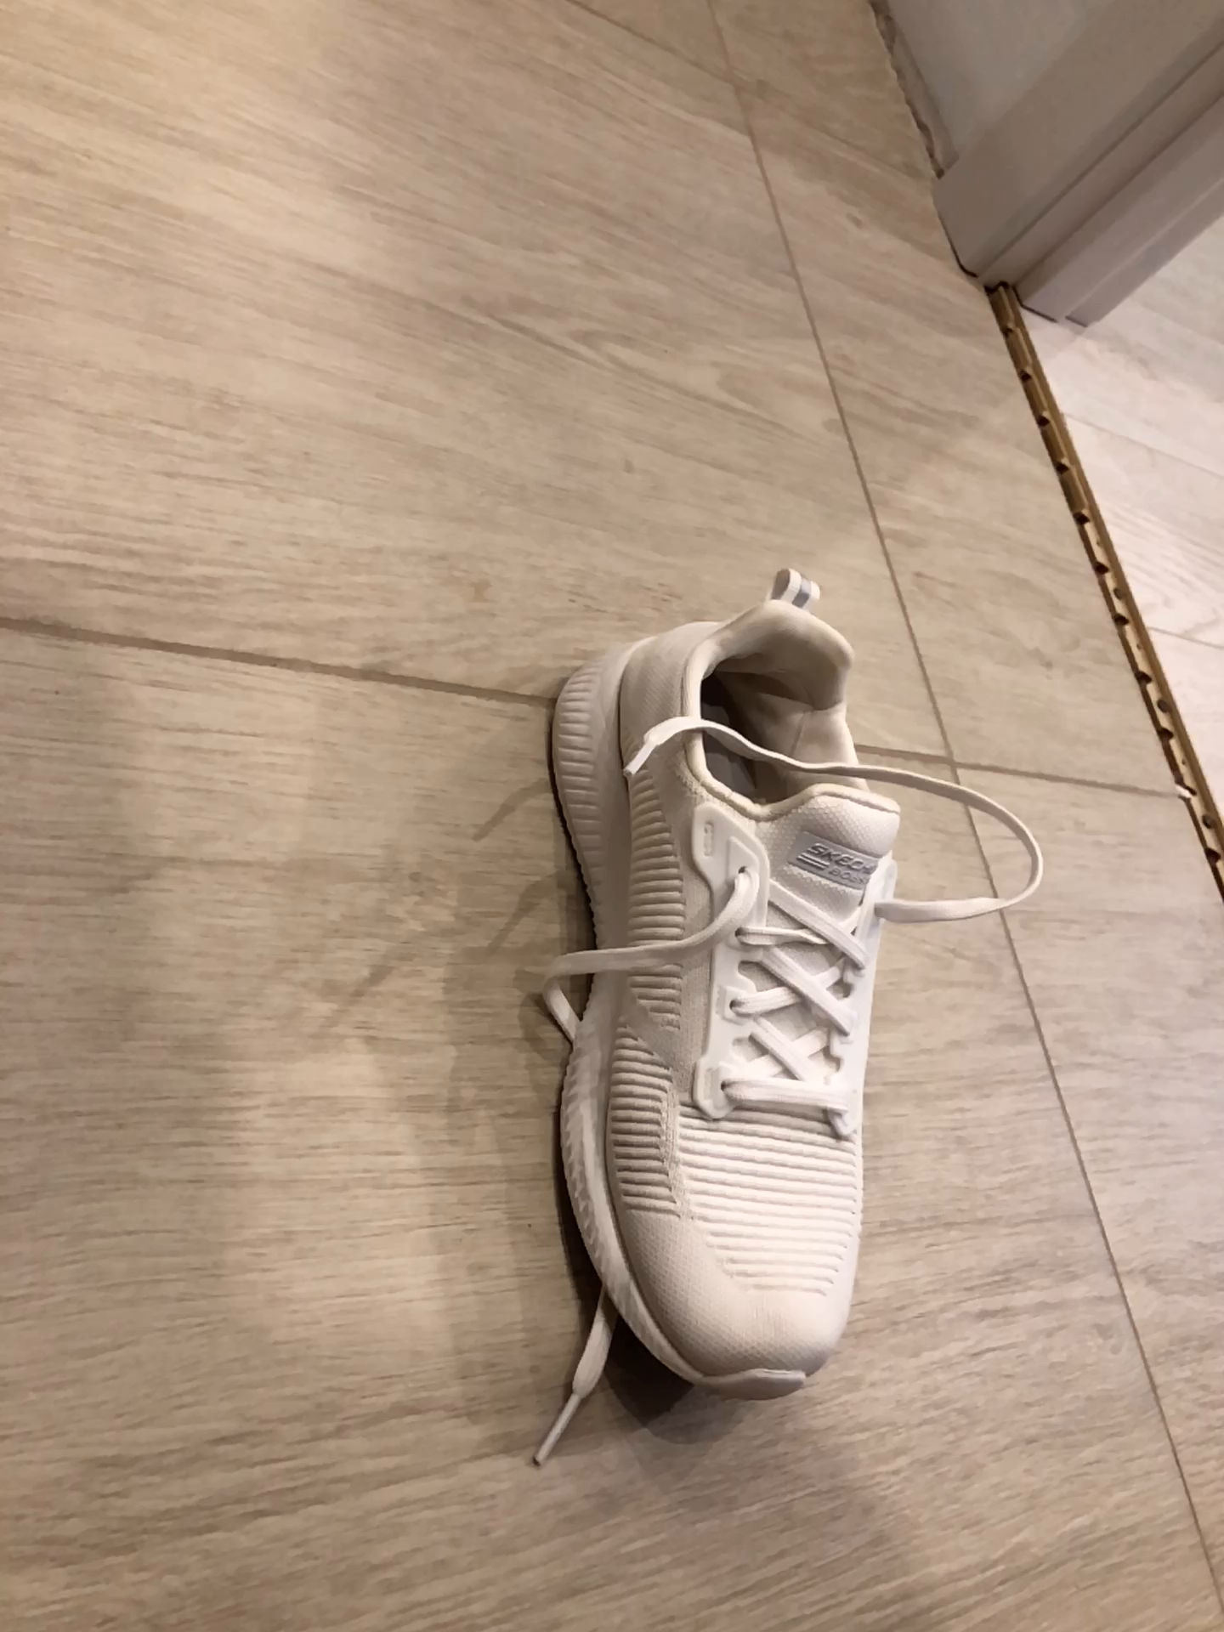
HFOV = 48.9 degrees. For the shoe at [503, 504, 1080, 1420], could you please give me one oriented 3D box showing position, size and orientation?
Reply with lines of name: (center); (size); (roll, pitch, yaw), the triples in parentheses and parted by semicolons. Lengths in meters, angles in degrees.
shoe: (0.037, 0.047, 0.397); (0.090, 0.119, 0.231); (15, 58, -30)
